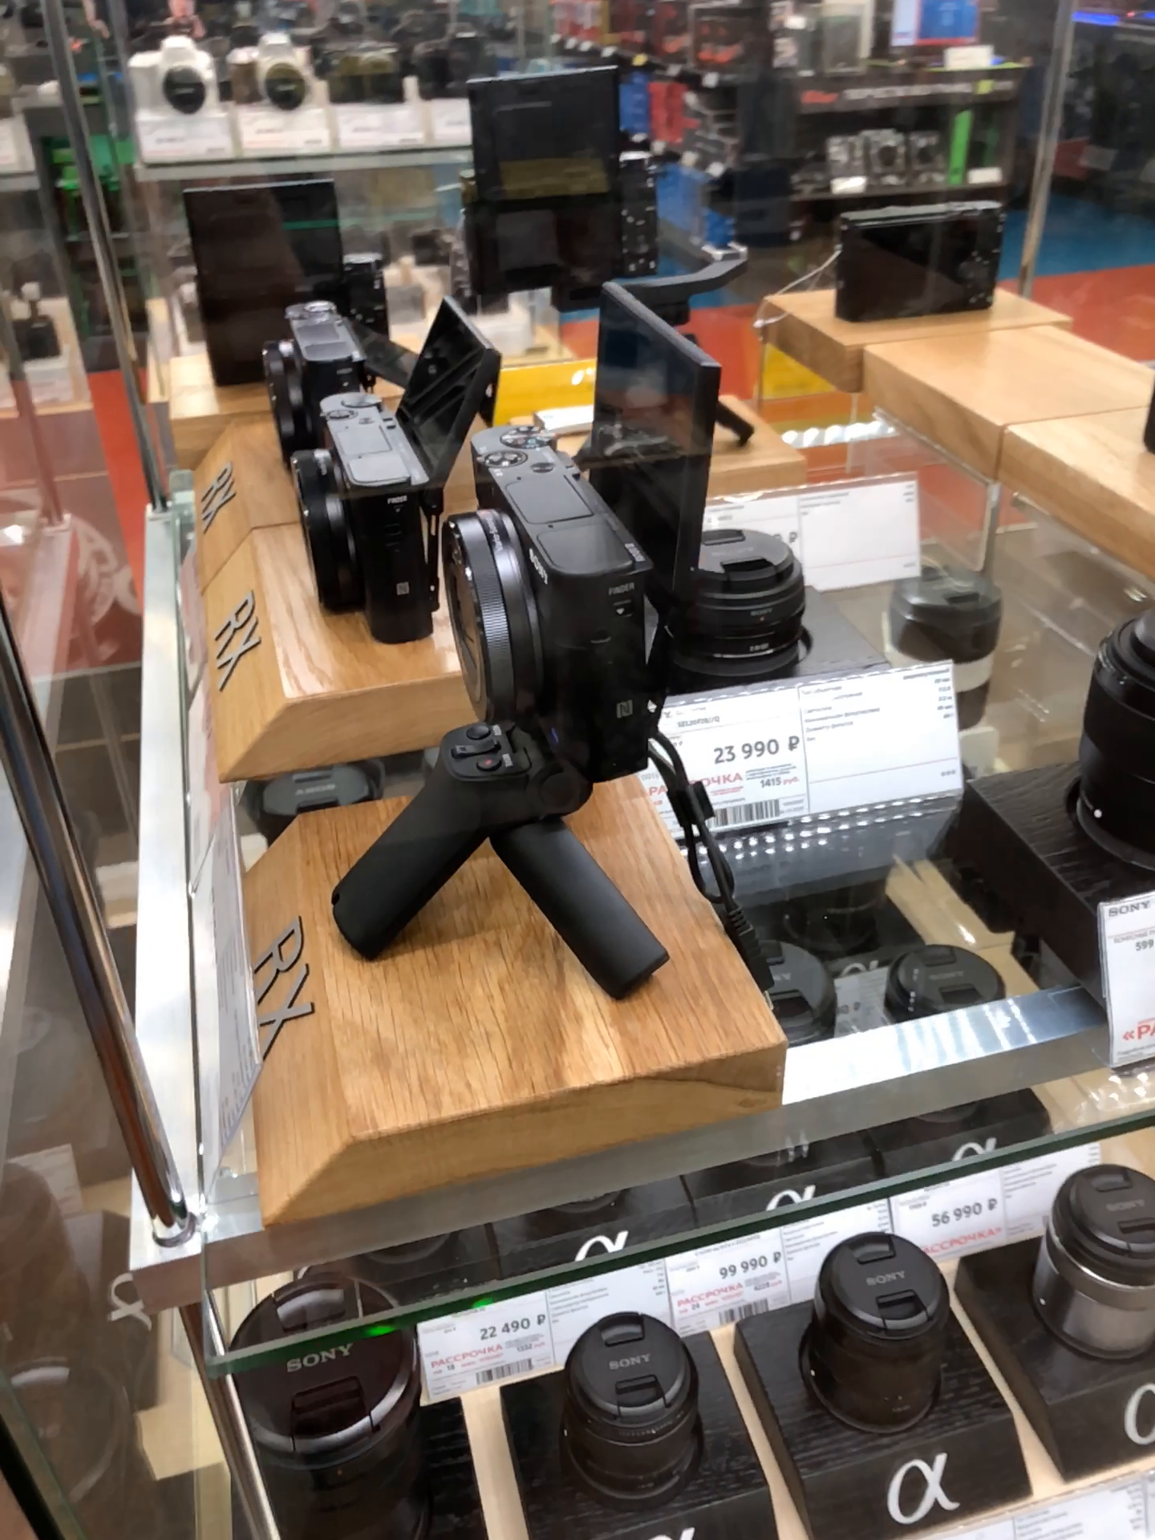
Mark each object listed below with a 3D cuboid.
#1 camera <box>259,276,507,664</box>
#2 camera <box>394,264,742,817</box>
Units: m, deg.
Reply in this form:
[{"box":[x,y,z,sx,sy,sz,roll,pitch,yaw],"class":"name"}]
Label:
[{"box":[-0.071,-0.112,0.461,0.065,0.102,0.103,-10,34,-12],"class":"camera"},{"box":[-0.006,-0.063,0.327,0.057,0.102,0.103,-10,34,-12],"class":"camera"}]
